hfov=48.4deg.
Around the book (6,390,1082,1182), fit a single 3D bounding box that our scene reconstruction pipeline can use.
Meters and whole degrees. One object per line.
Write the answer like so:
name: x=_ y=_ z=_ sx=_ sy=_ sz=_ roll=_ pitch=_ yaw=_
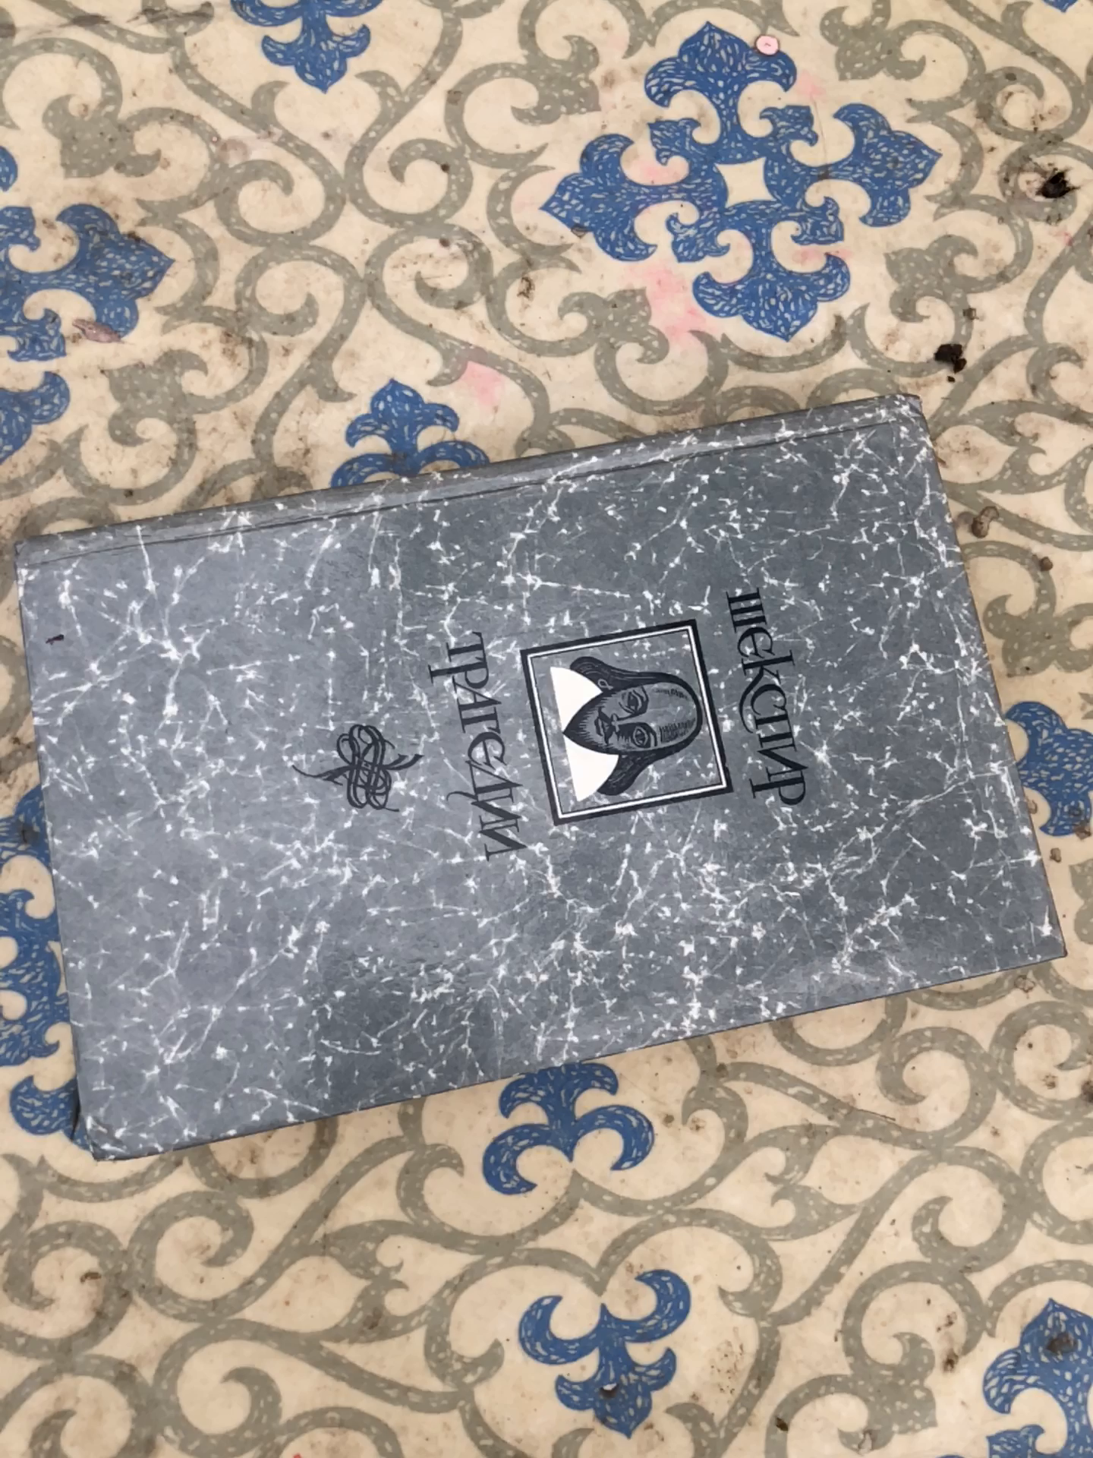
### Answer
book: x=-0.003 y=0.009 z=0.273 sx=0.207 sy=0.033 sz=0.134 roll=-10 pitch=80 yaw=-4
